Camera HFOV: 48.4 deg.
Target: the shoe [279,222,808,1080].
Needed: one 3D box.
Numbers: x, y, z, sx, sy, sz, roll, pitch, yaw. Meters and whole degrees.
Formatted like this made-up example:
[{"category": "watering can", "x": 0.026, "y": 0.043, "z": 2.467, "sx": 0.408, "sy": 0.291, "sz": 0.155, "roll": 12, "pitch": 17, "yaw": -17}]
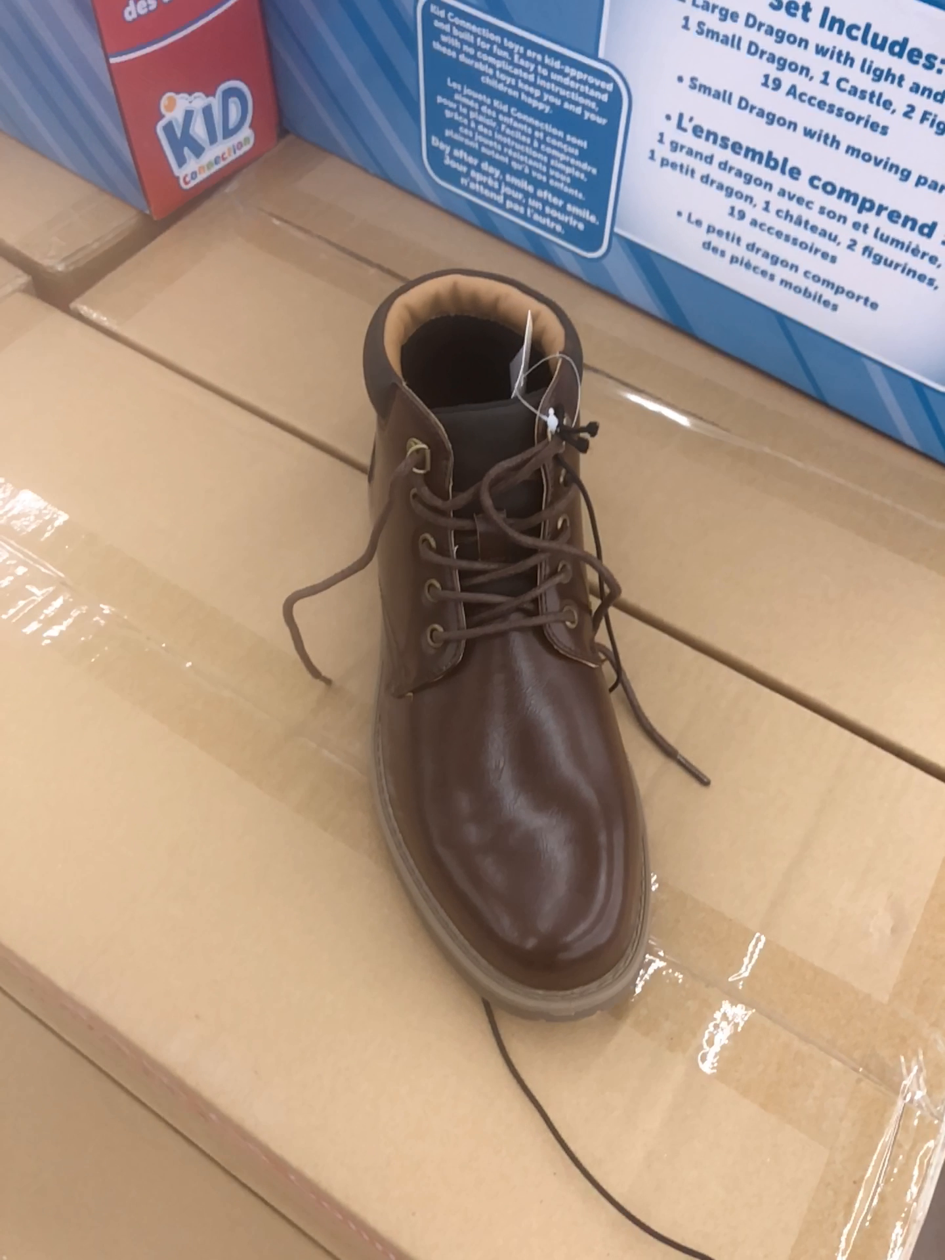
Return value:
[{"category": "shoe", "x": 0.003, "y": 0.000, "z": 0.421, "sx": 0.120, "sy": 0.160, "sz": 0.290, "roll": -7, "pitch": 57, "yaw": -7}]
